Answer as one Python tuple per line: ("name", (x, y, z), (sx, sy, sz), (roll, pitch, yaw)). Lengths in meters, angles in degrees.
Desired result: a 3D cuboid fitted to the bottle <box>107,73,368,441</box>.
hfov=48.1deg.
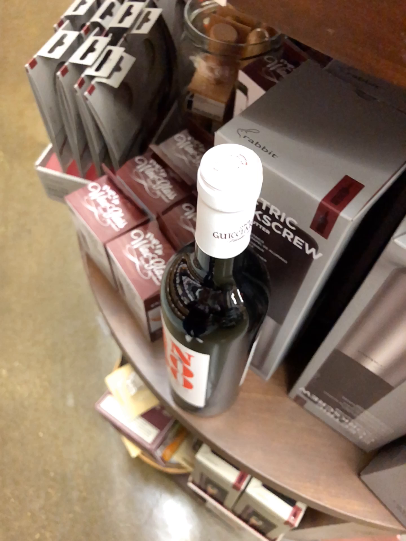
("bottle", (0.010, 0.032, 0.323), (0.080, 0.310, 0.083), (0, 58, 0))
